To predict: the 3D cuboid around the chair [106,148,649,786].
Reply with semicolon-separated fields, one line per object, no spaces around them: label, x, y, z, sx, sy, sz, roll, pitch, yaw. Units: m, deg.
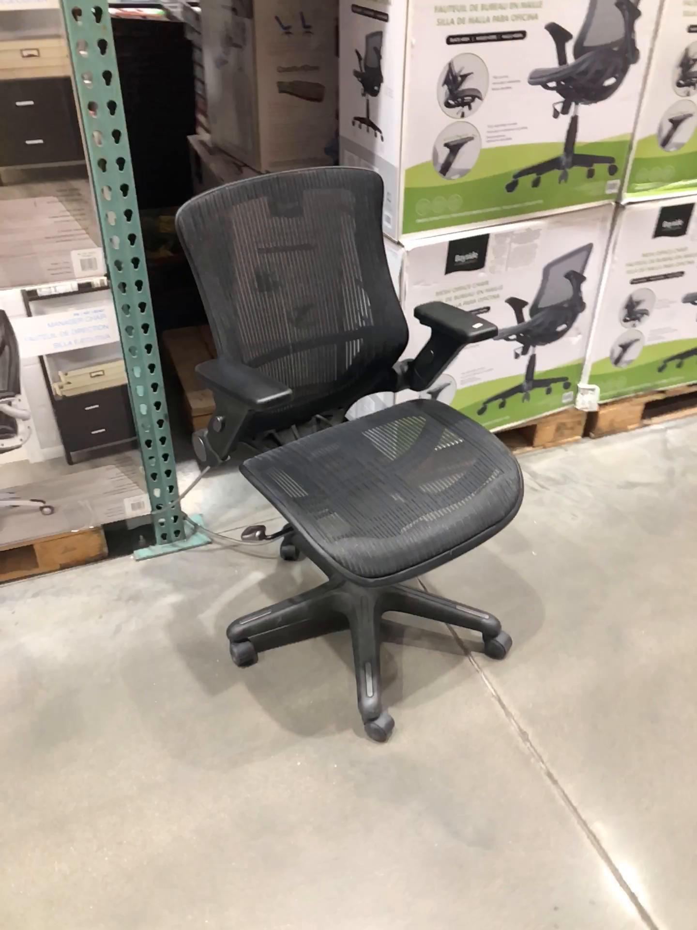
chair;0.009;-0.043;1.565;0.635;0.936;0.700;-20;41;-27
